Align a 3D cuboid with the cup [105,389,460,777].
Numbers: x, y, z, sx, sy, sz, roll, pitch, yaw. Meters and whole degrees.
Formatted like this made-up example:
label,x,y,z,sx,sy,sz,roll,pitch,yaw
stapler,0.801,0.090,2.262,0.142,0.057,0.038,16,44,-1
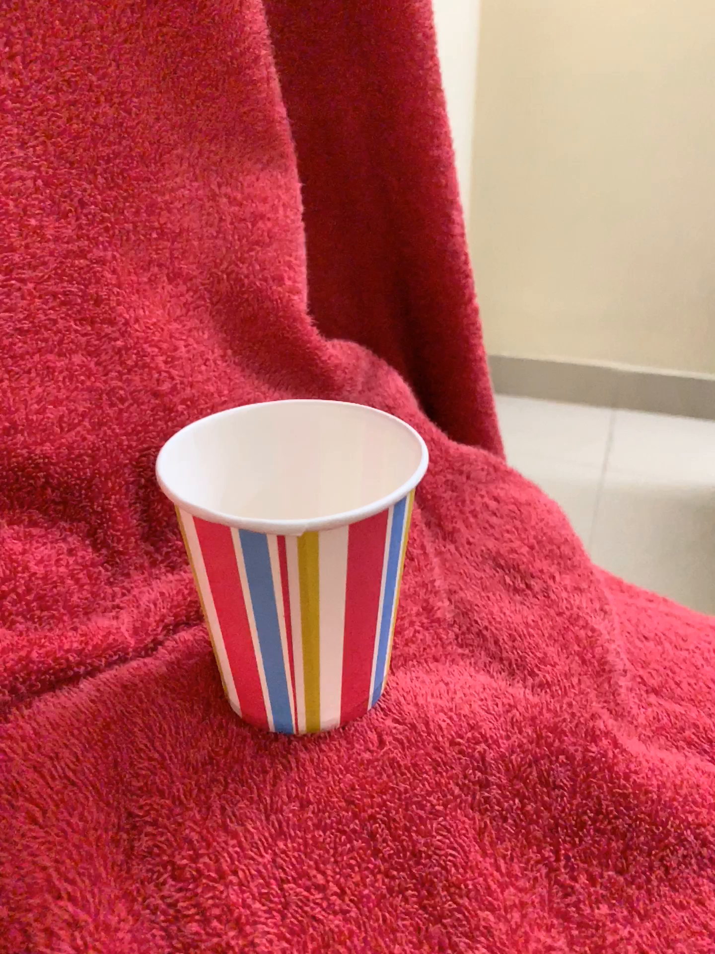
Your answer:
label,x,y,z,sx,sy,sz,roll,pitch,yaw
cup,-0.013,0.023,0.194,0.070,0.069,0.071,-1,29,0
